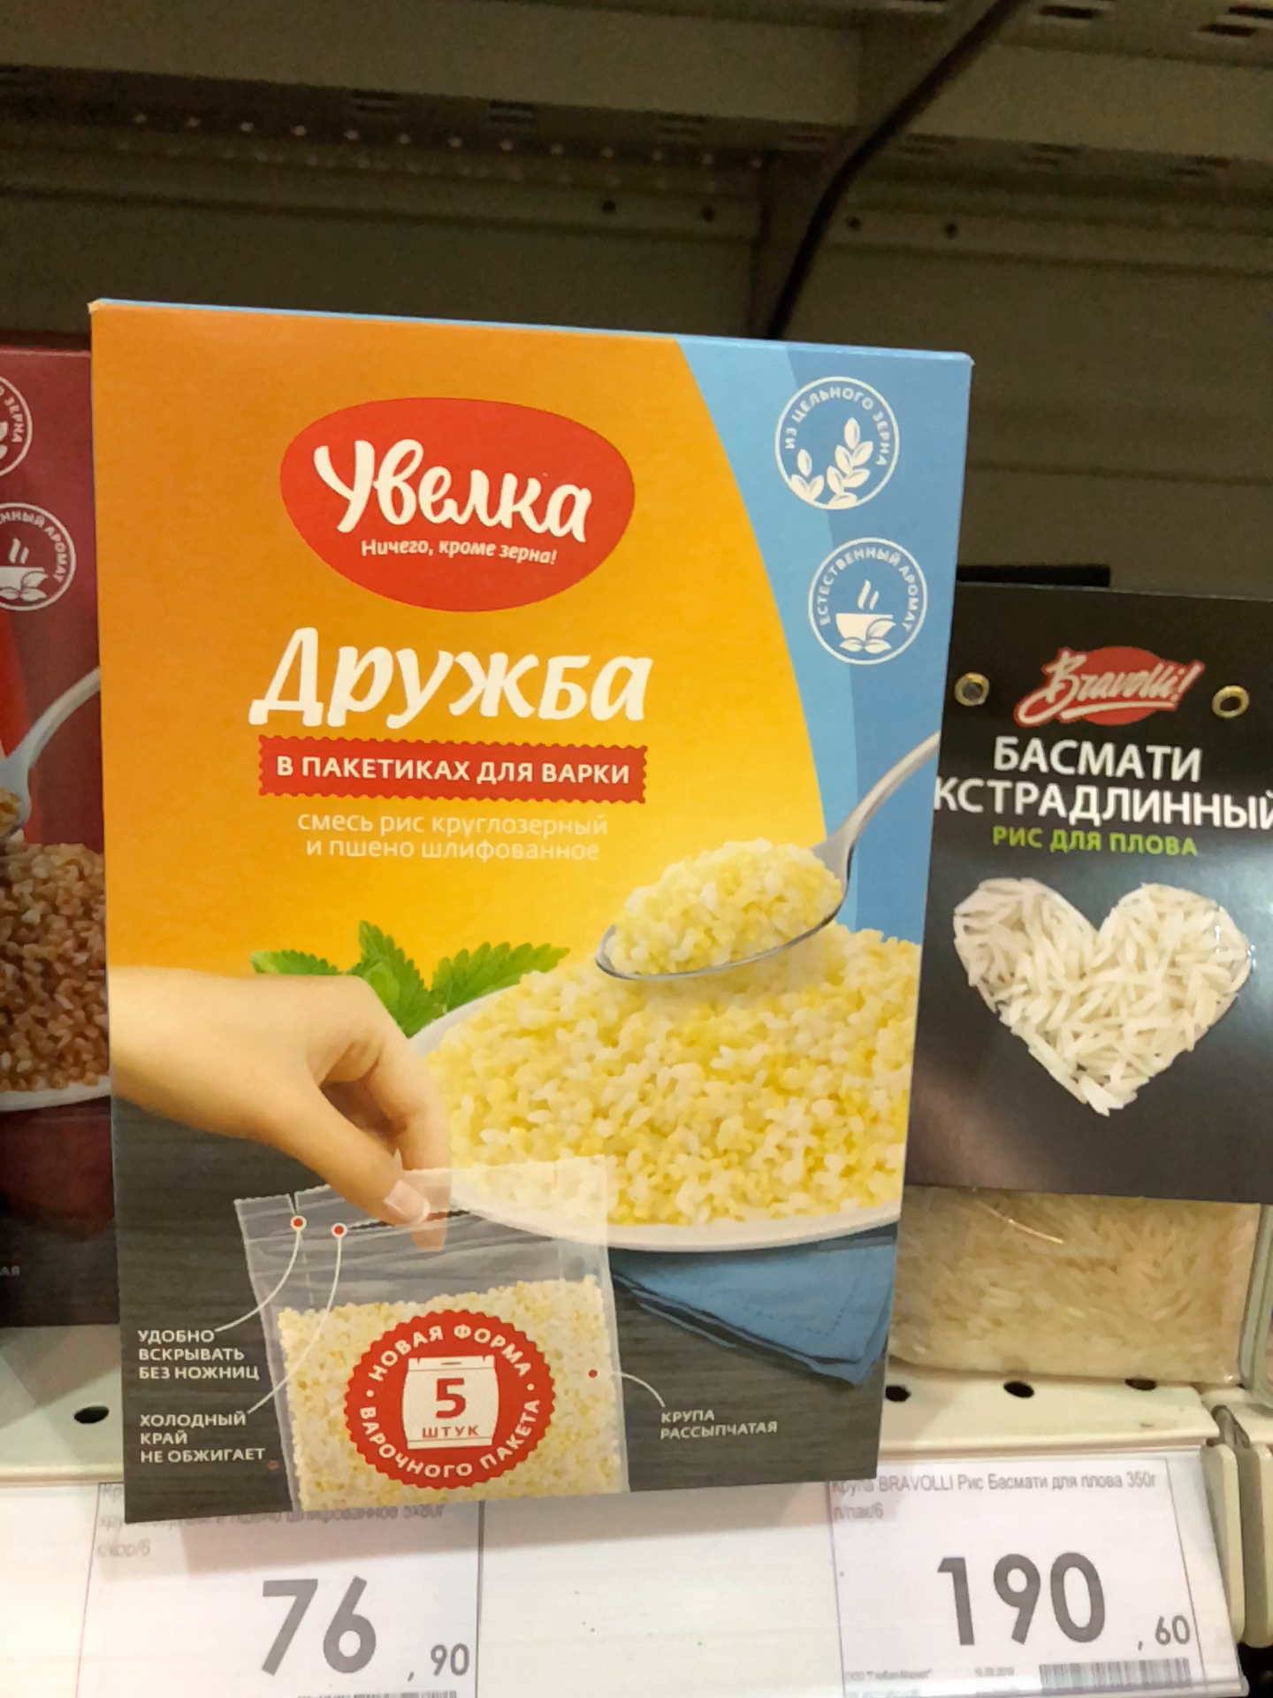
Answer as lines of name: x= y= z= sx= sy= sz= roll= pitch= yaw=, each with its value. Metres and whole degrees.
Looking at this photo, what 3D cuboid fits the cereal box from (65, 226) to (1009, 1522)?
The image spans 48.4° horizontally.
cereal box: x=-0.017 y=0.008 z=0.232 sx=0.130 sy=0.189 sz=0.040 roll=1 pitch=11 yaw=-9
